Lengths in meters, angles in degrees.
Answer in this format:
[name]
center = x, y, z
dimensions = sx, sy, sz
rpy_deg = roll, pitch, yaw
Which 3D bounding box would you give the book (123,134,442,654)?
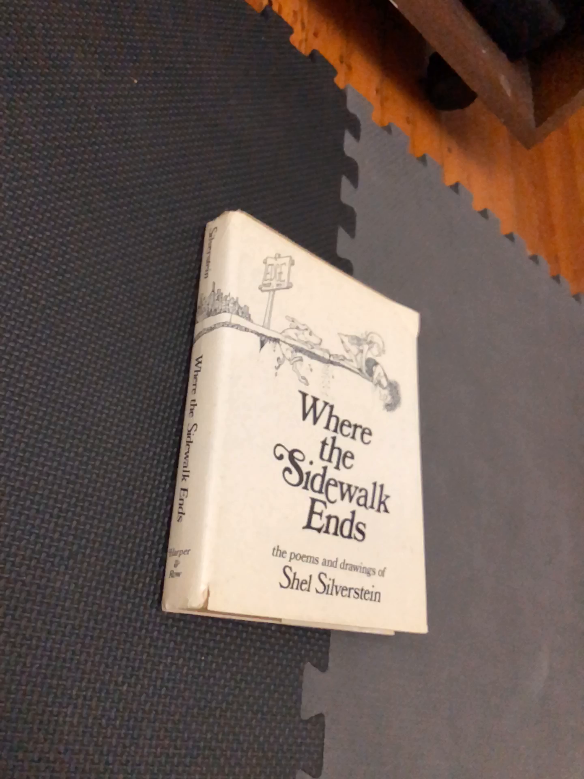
[book]
center = 0.013, 0.008, 0.405
dimensions = 0.201, 0.030, 0.281
rpy_deg = 22, 59, -37
